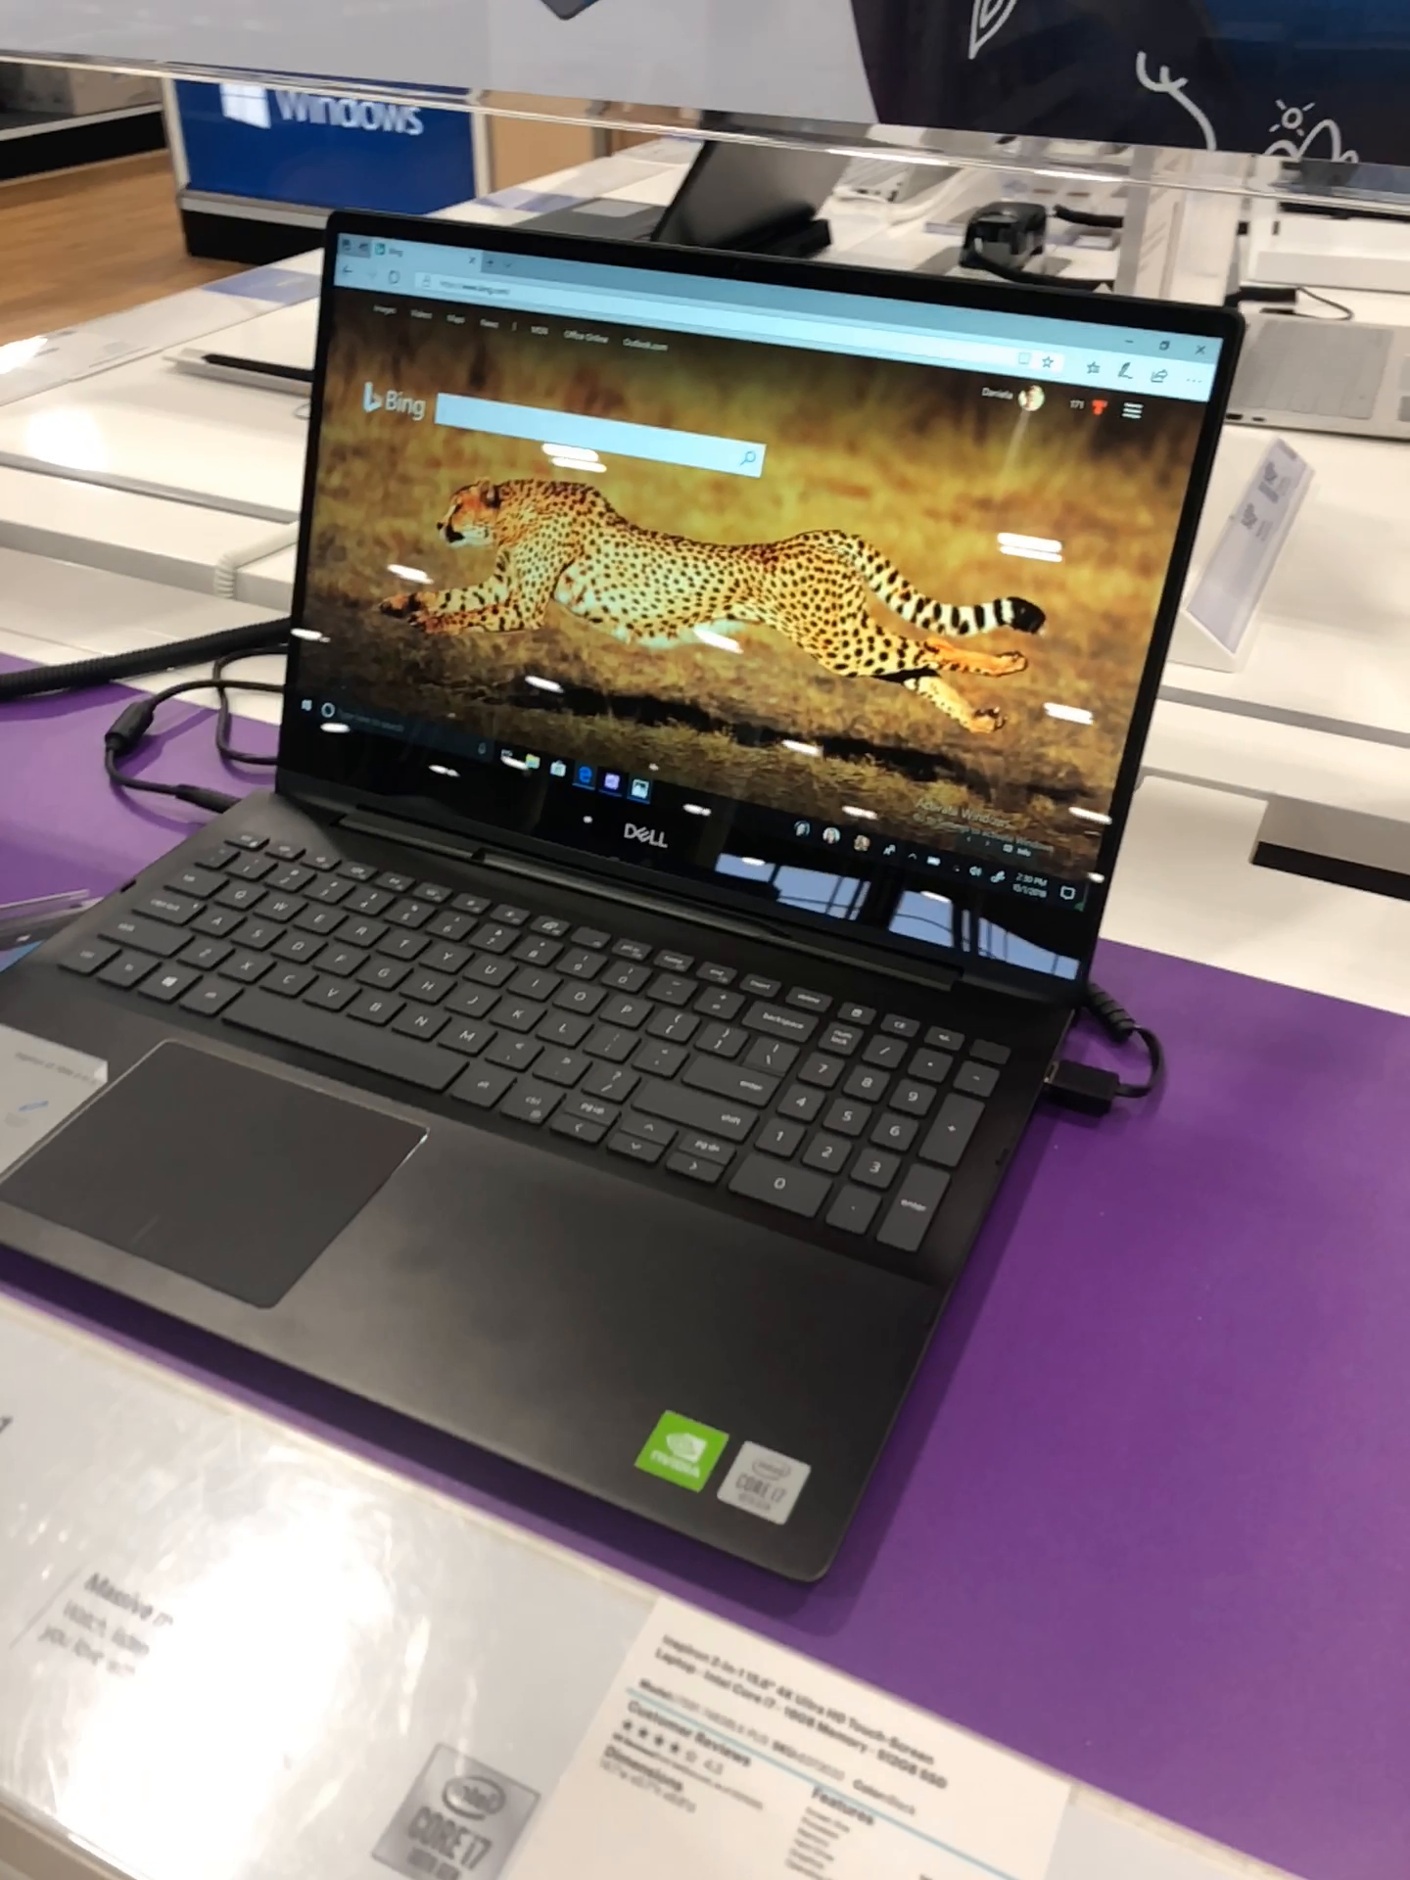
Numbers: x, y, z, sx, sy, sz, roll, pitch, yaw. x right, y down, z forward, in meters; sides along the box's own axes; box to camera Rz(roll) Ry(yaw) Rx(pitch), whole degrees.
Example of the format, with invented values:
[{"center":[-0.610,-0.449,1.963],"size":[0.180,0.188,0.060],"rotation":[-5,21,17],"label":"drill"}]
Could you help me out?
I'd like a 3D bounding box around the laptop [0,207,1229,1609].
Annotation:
[{"center":[-0.064,-0.064,0.467],"size":[0.341,0.207,0.325],"rotation":[16,38,20],"label":"laptop"}]
